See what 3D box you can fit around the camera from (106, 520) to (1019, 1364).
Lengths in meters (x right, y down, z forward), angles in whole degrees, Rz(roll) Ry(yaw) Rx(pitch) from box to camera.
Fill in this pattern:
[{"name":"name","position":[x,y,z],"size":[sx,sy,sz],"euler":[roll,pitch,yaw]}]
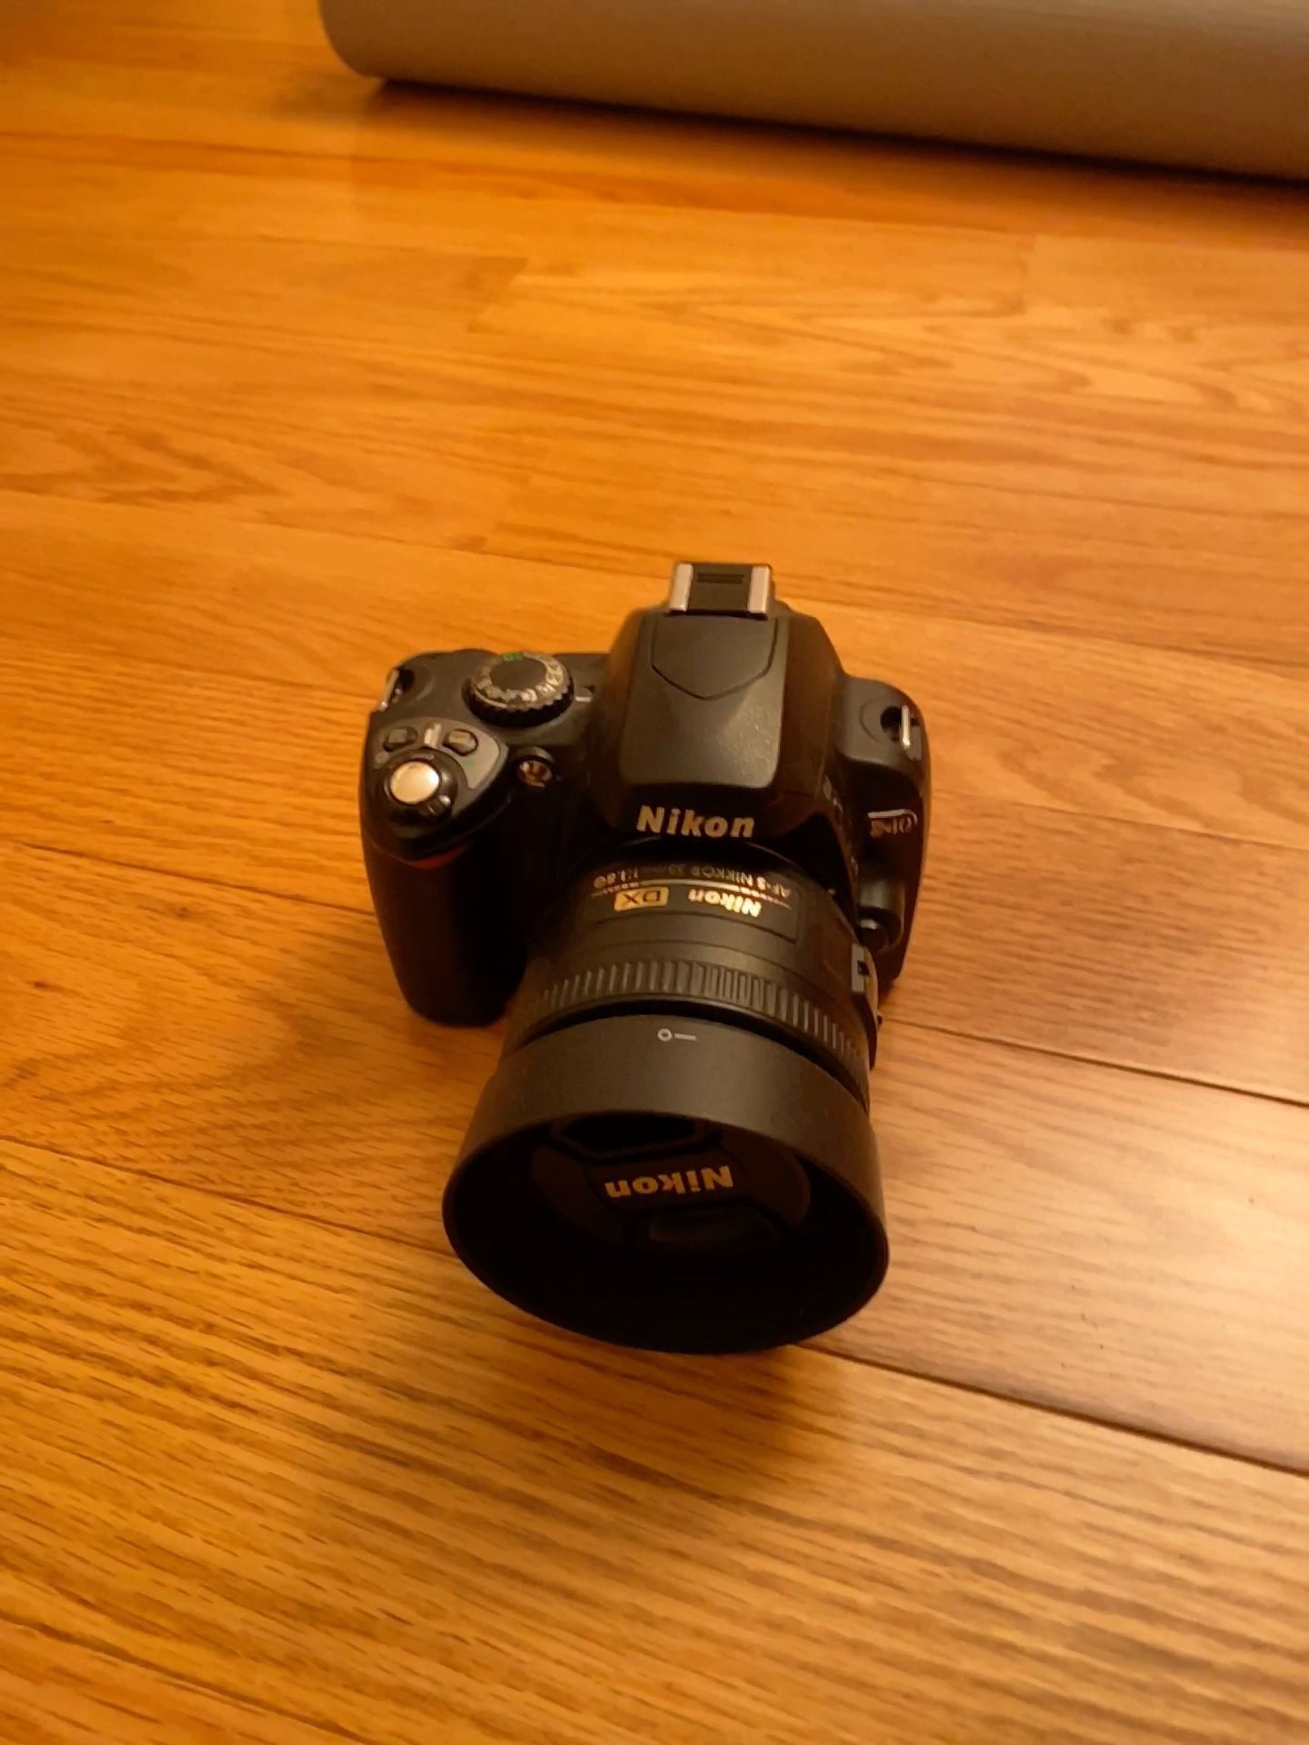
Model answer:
[{"name":"camera","position":[-0.005,0.005,0.267],"size":[0.130,0.079,0.141],"euler":[4,45,6]}]
